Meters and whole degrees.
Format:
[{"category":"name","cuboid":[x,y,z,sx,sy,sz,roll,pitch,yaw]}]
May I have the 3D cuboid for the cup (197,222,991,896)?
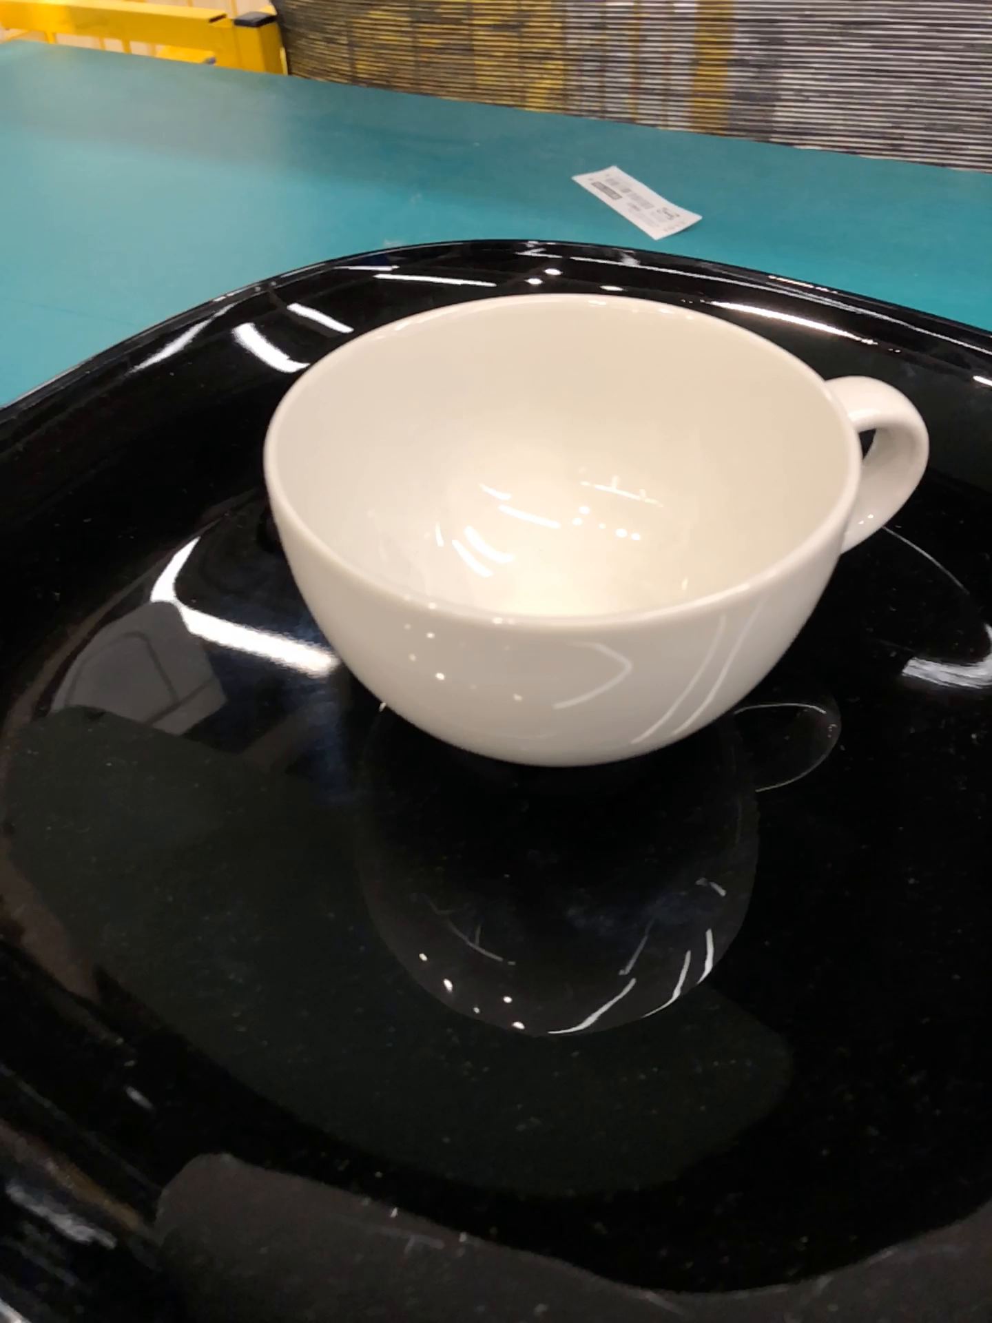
[{"category":"cup","cuboid":[0.025,-0.033,0.212,0.130,0.040,0.110,-20,44,-17]}]
